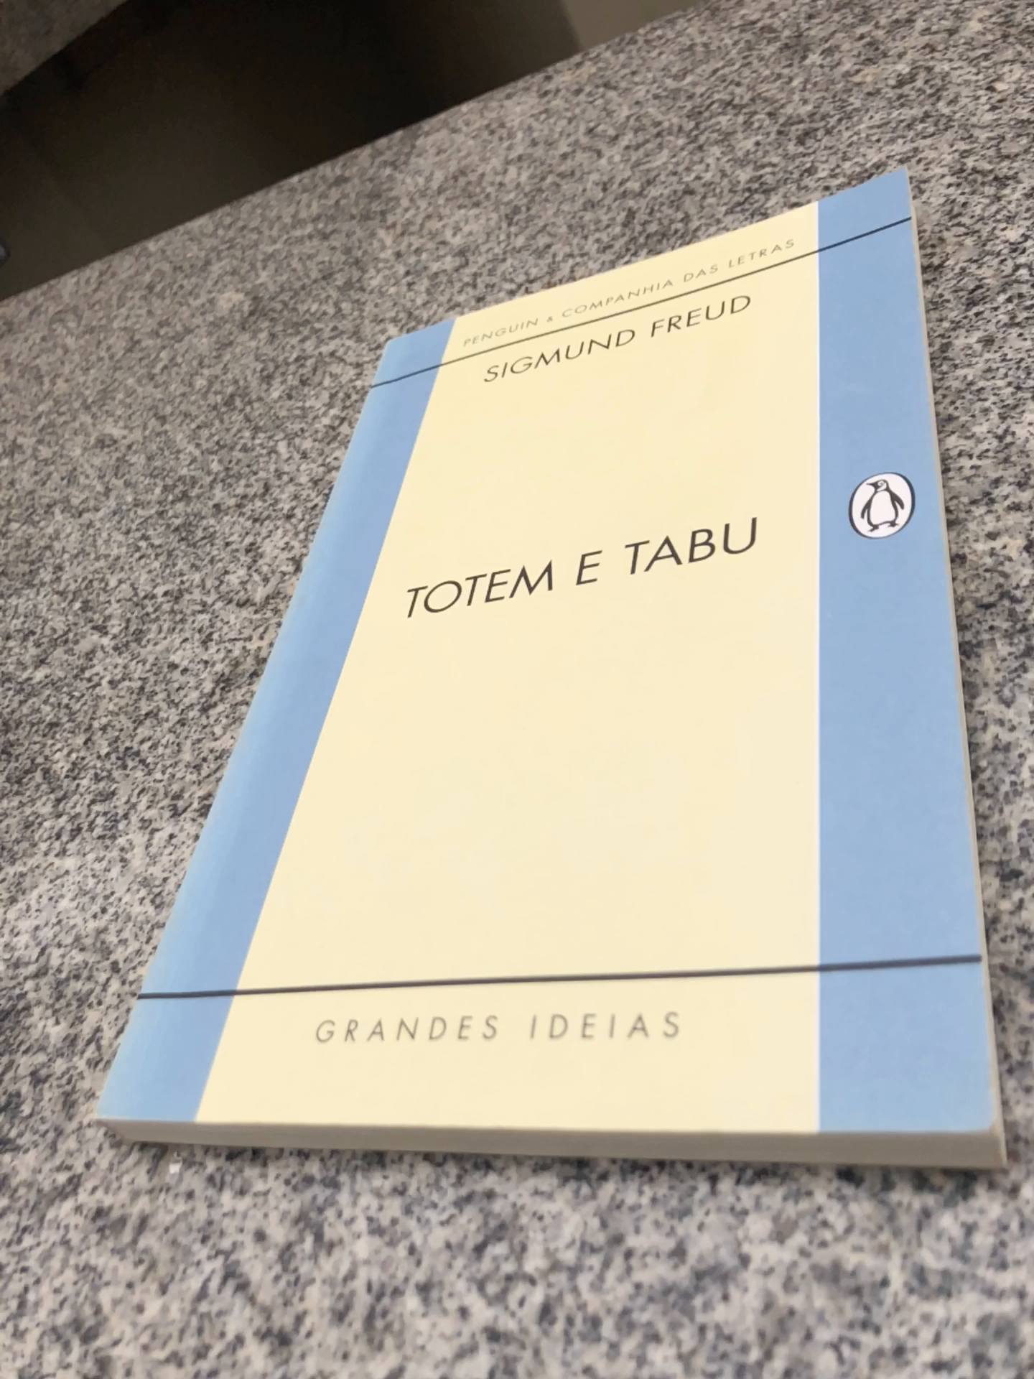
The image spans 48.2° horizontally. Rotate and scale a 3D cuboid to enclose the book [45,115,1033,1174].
[{"bbox_3d":[0.013,-0.023,0.195,0.130,0.015,0.192,-9,47,25],"label":"book"}]
